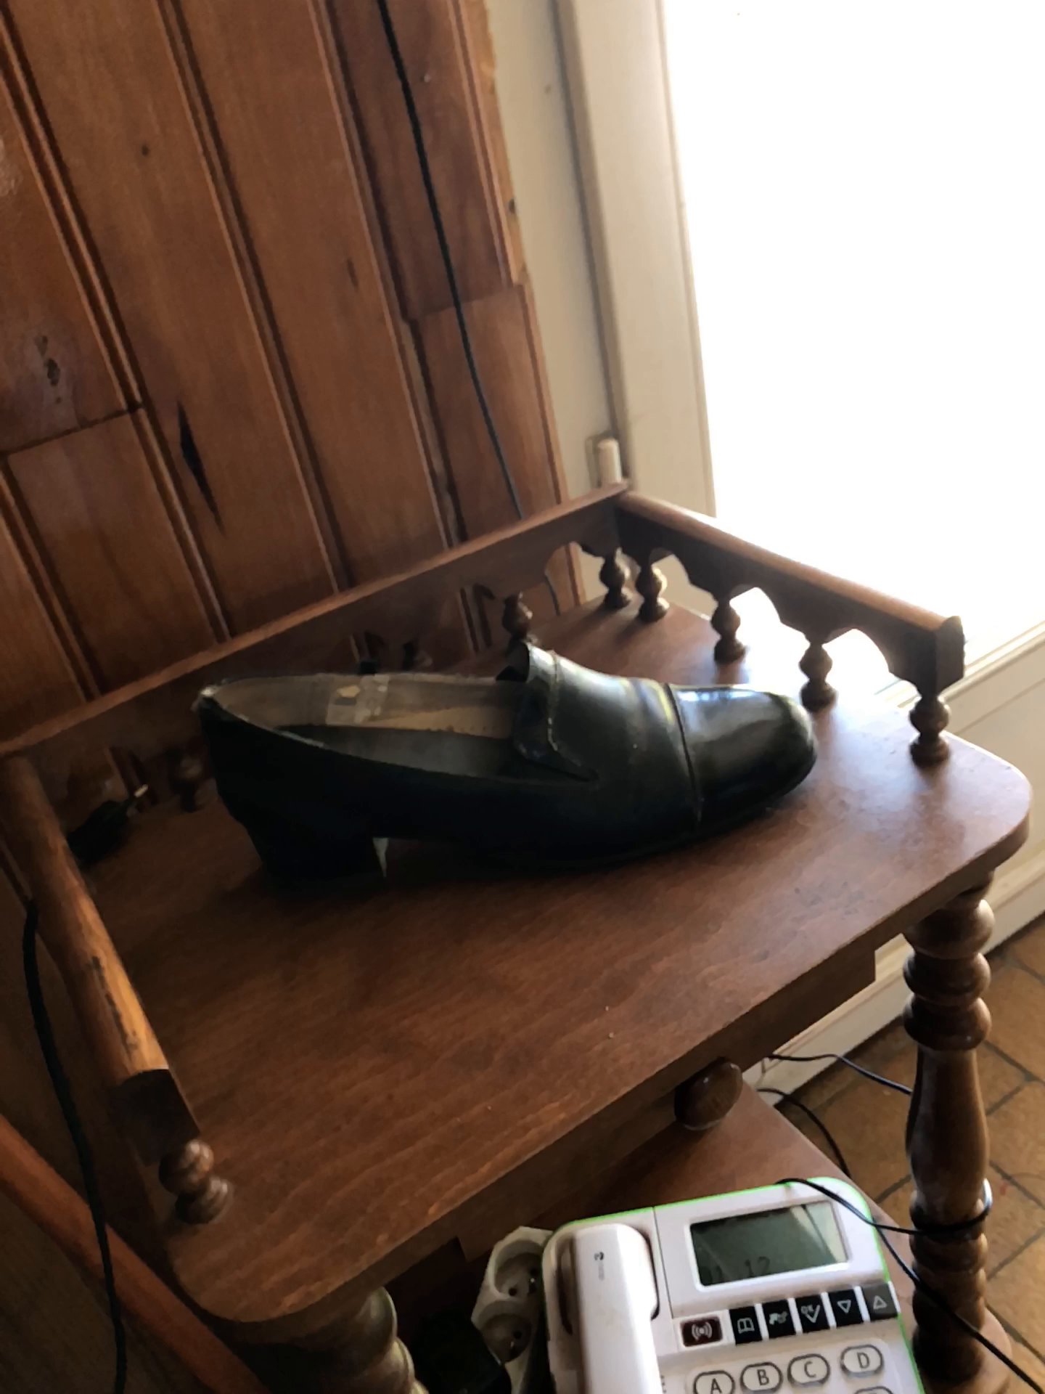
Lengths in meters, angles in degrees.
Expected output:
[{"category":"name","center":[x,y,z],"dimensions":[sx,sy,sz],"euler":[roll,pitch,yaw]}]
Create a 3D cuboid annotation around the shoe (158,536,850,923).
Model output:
[{"category":"shoe","center":[-0.004,0.013,0.498],"dimensions":[0.260,0.090,0.101],"euler":[-8,31,6]}]
